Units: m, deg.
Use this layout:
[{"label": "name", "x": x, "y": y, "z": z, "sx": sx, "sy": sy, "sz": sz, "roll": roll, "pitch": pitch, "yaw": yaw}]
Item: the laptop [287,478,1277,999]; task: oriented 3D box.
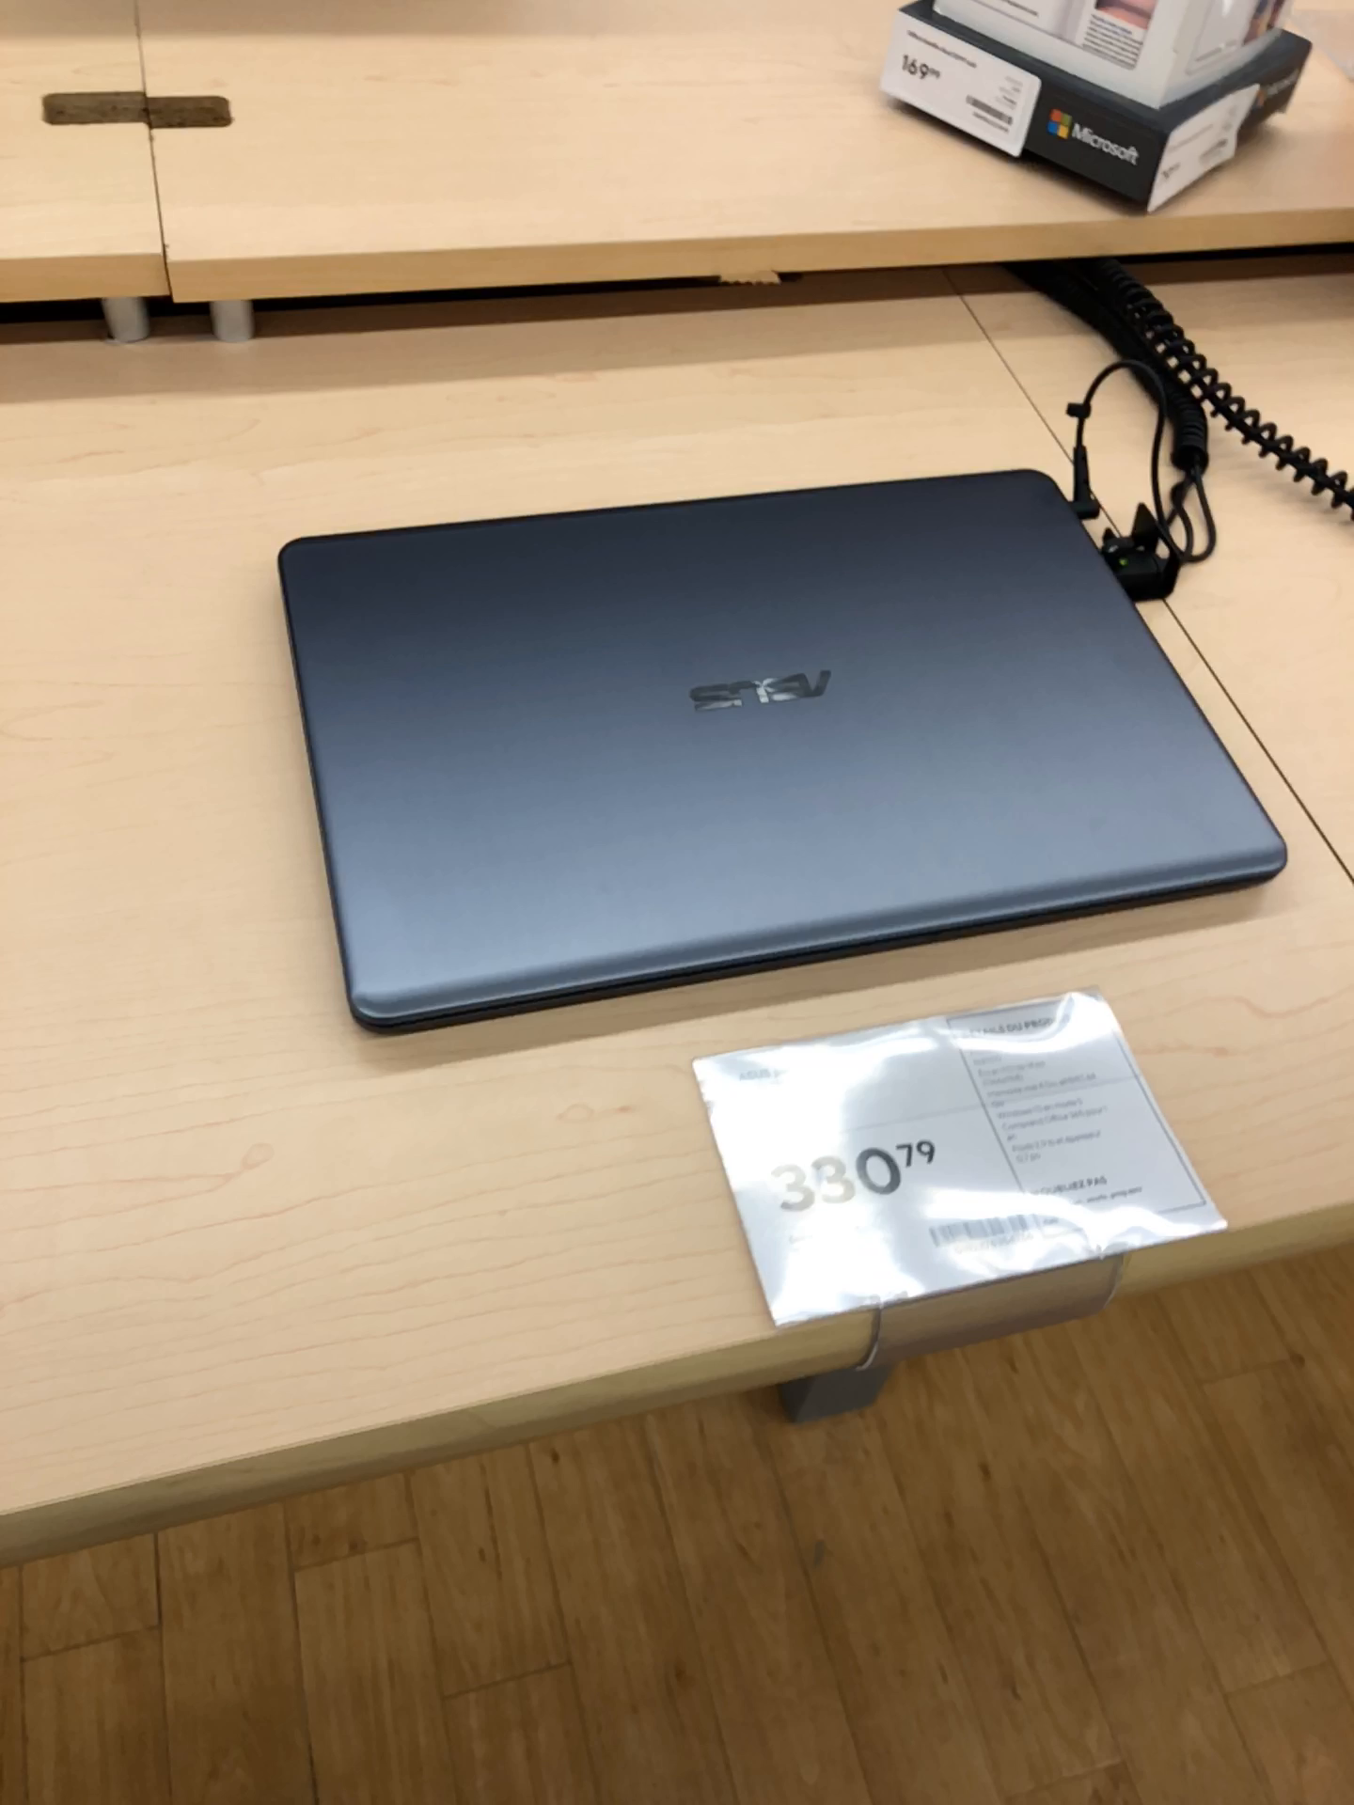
[{"label": "laptop", "x": 0.031, "y": -0.077, "z": 0.552, "sx": 0.318, "sy": 0.001, "sz": 0.210, "roll": -9, "pitch": 55, "yaw": -13}]
